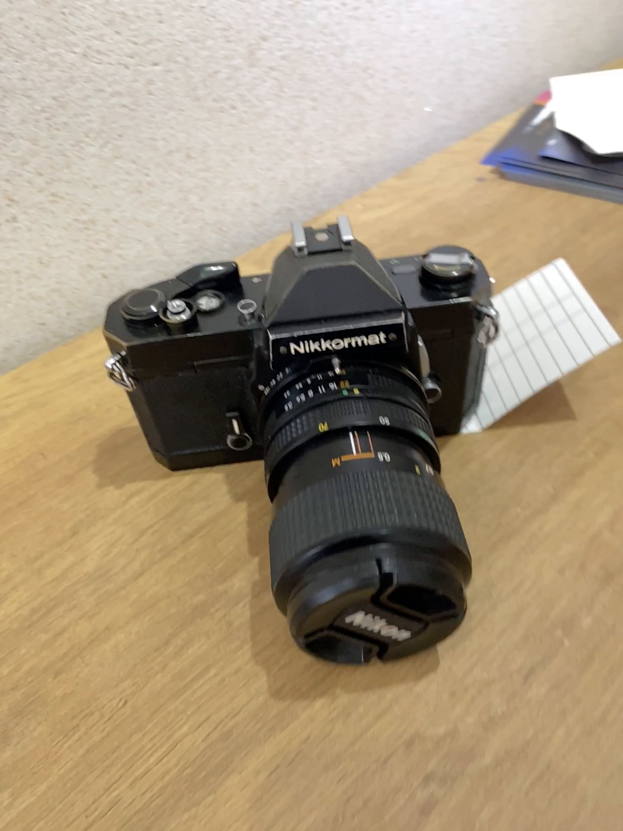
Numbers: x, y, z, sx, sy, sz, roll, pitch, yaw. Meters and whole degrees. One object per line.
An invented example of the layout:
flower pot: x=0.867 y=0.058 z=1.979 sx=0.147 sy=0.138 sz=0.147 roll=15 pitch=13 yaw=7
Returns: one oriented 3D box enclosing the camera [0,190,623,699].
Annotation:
camera: x=0.000 y=0.004 z=0.229 sx=0.160 sy=0.089 sz=0.141 roll=-6 pitch=44 yaw=2
